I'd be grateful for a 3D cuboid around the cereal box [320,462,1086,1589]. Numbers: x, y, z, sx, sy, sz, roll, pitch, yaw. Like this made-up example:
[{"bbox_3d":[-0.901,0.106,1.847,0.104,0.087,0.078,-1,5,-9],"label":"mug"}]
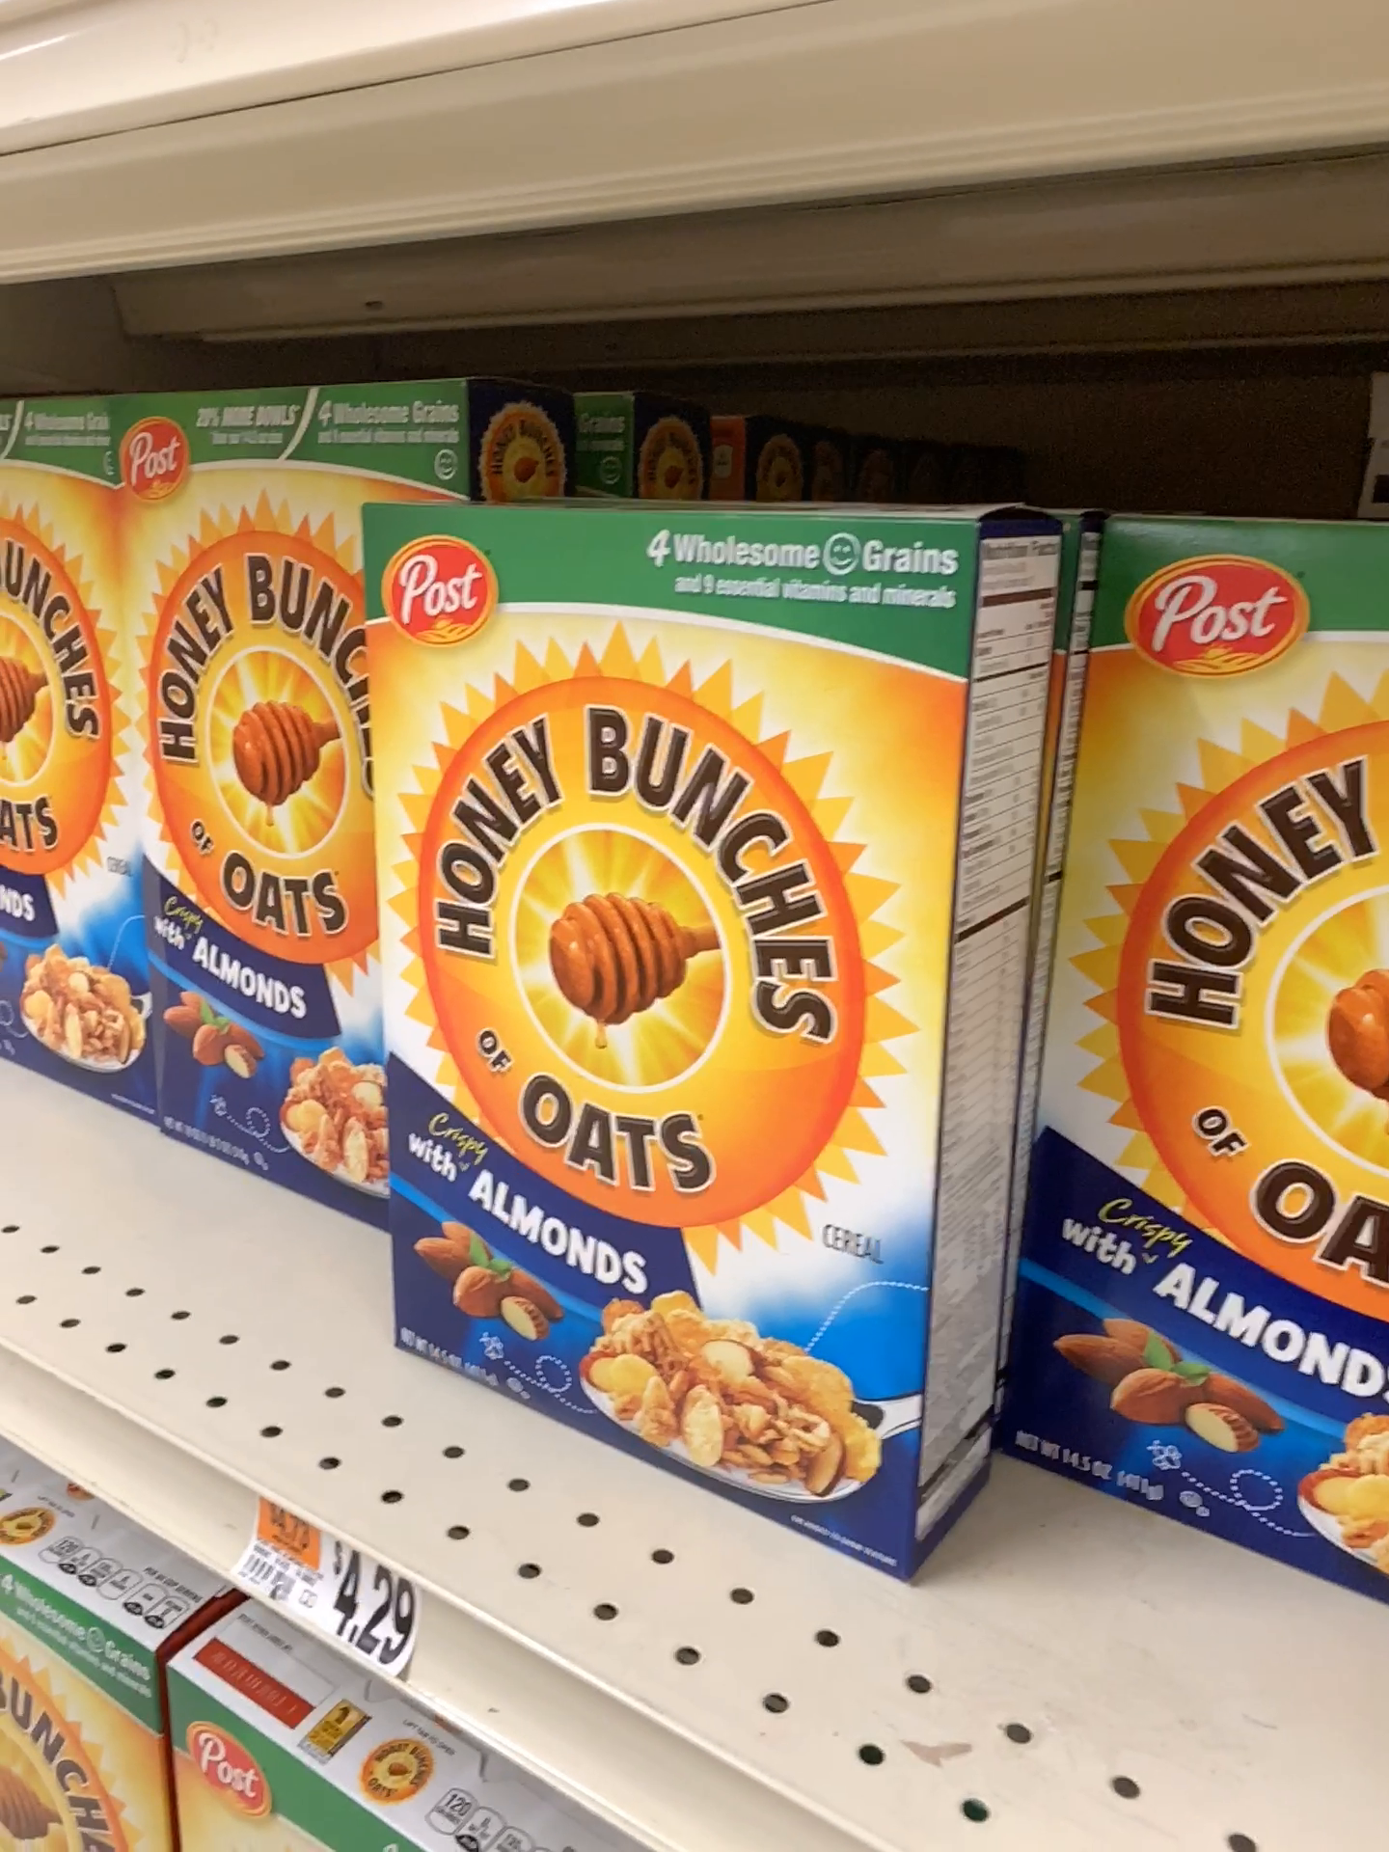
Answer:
[{"bbox_3d":[-0.008,0.014,0.409,0.200,0.279,0.060,12,20,33],"label":"cereal box"}]
